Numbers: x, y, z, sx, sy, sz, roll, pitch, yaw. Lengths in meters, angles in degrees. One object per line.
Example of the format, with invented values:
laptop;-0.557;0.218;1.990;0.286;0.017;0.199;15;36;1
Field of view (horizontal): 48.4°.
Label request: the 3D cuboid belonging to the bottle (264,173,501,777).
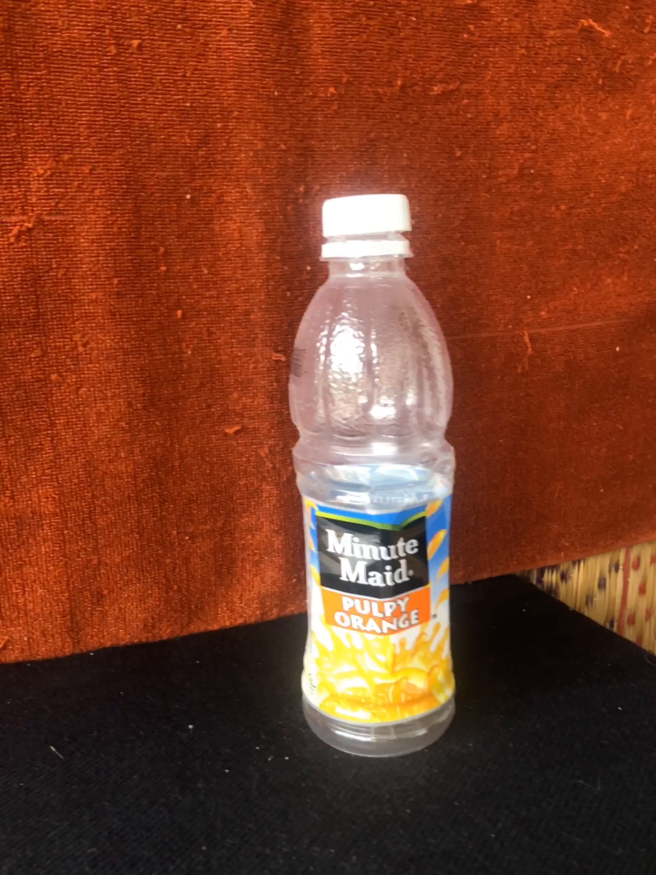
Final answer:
bottle;0.014;0.012;0.270;0.070;0.199;0.070;0;12;0
